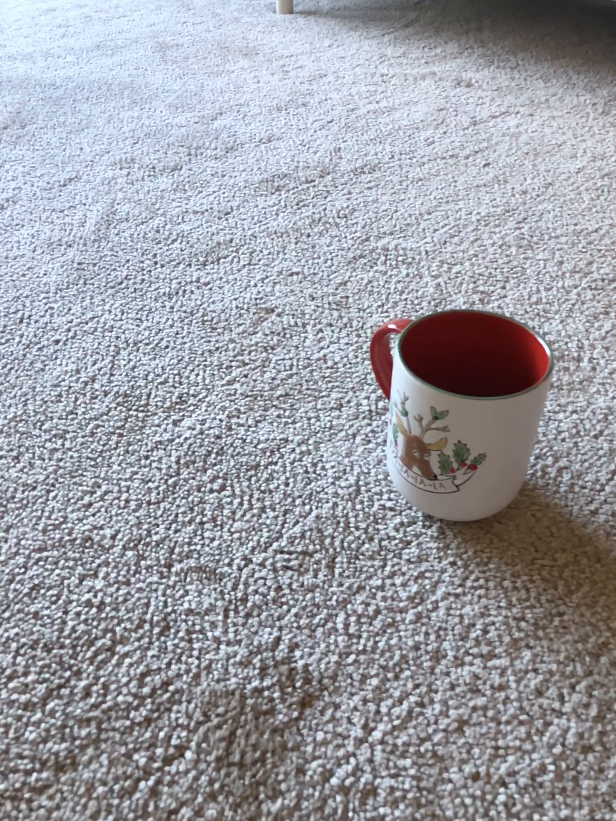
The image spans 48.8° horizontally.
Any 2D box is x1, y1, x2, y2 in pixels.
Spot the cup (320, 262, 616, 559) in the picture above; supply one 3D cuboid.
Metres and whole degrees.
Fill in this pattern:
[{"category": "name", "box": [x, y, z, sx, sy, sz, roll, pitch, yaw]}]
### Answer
[{"category": "cup", "box": [0.089, -0.008, 0.416, 0.100, 0.090, 0.140, -25, 47, -24]}]
